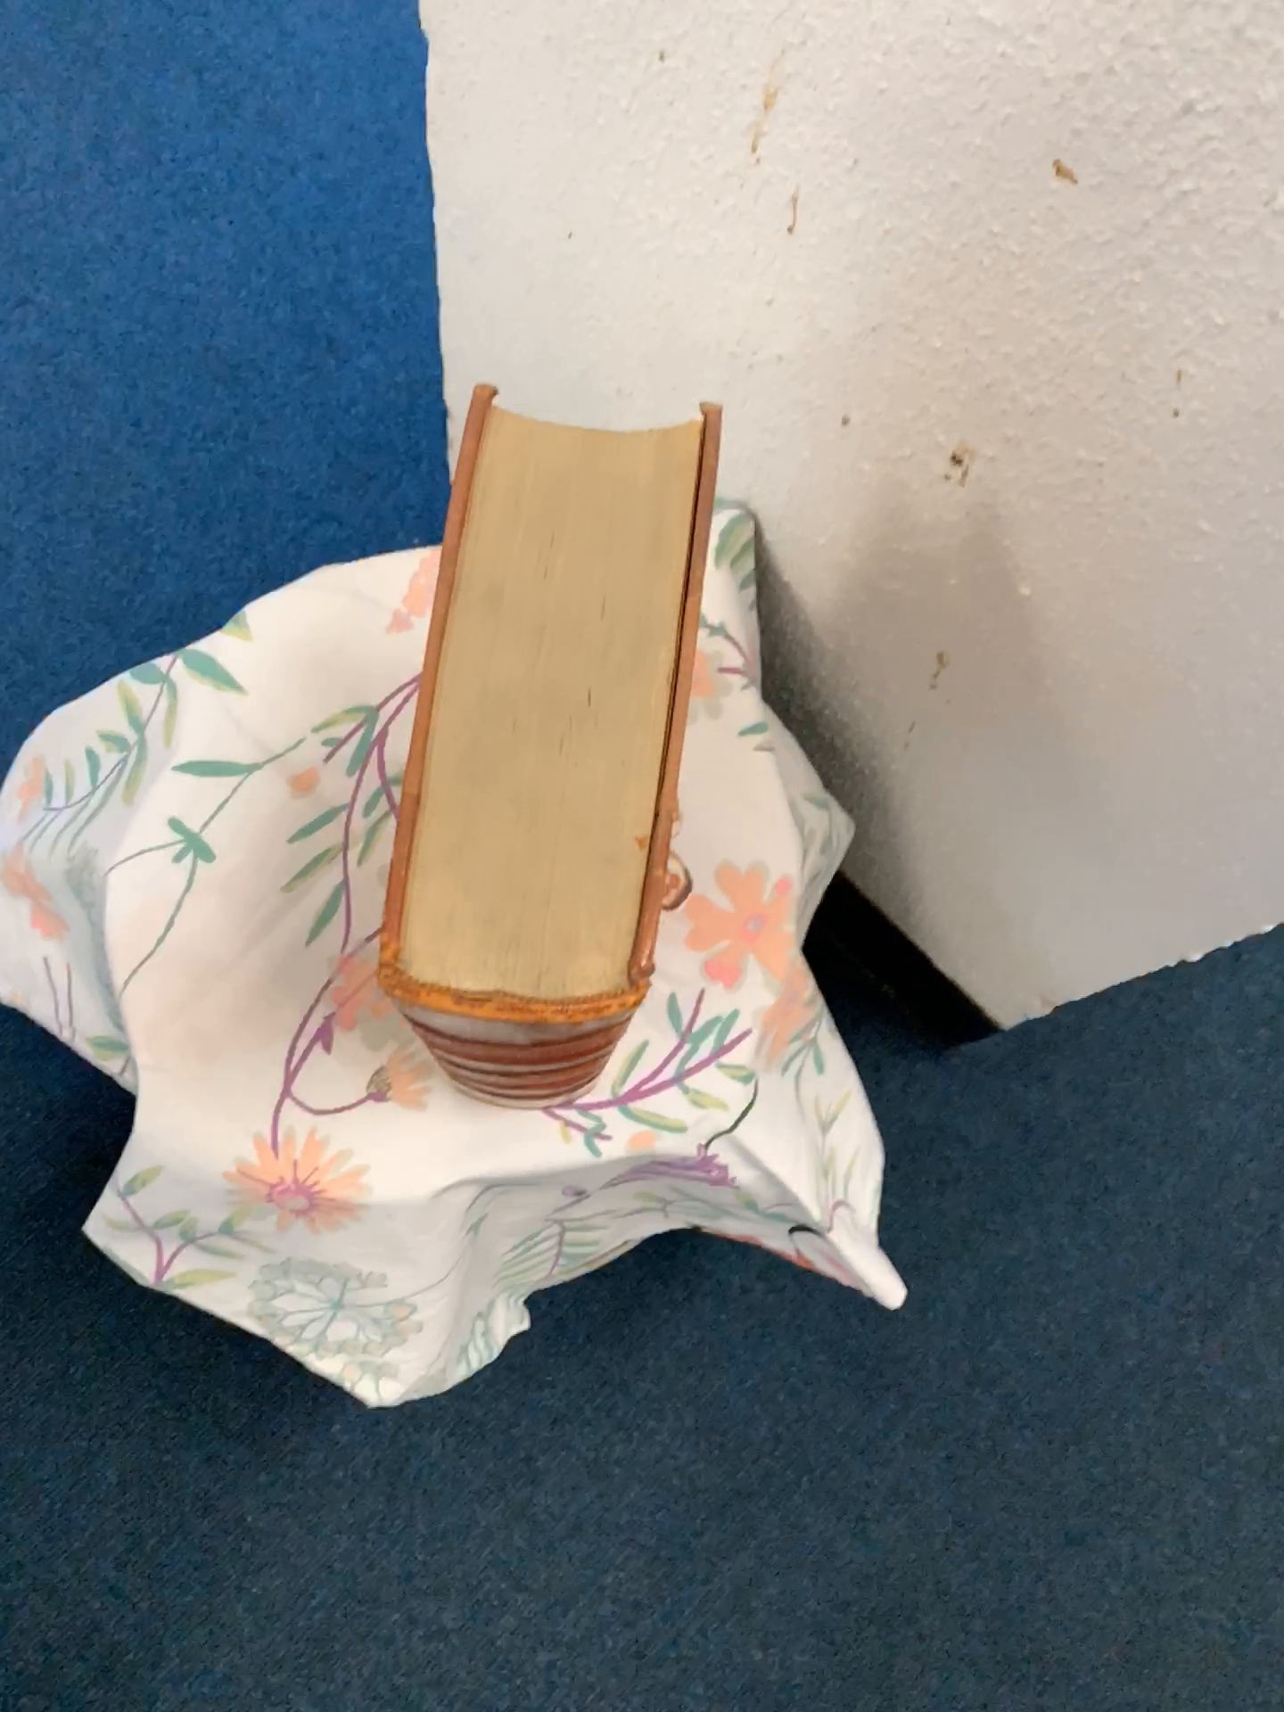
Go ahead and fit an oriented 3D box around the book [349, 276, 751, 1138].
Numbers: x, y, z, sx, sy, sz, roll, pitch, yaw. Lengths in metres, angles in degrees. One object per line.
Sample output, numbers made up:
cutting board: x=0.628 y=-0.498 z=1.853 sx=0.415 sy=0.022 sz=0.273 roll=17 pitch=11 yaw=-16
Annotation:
book: x=-0.031 y=-0.016 z=0.422 sx=0.070 sy=0.249 sz=0.191 roll=7 pitch=74 yaw=-5
